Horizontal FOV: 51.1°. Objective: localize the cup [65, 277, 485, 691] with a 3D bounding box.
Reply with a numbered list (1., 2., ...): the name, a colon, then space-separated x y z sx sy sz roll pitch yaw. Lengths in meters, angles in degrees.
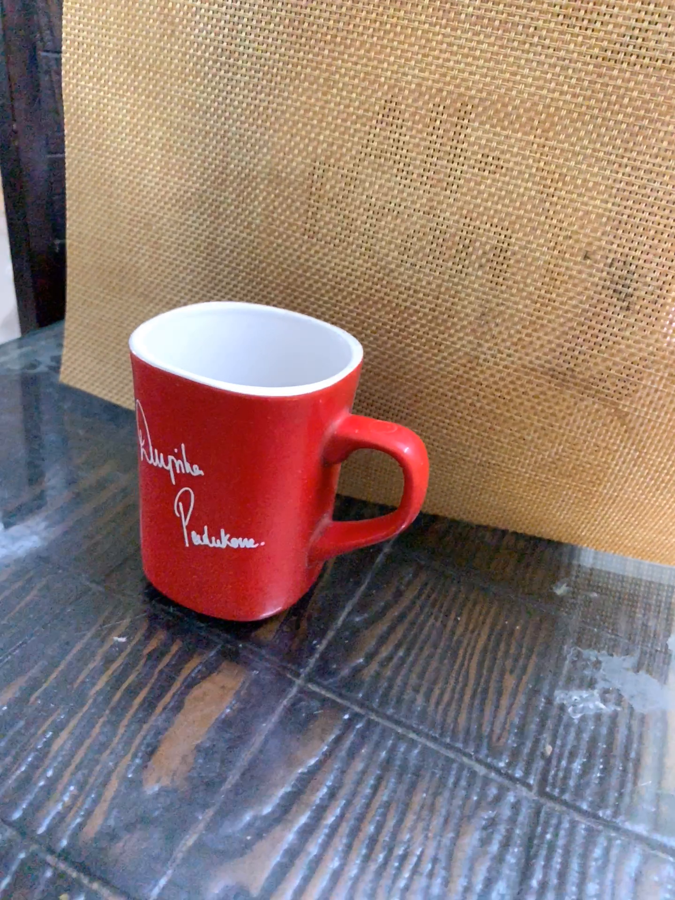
1. cup: -0.020 0.003 0.224 0.100 0.079 0.070 20 32 21
